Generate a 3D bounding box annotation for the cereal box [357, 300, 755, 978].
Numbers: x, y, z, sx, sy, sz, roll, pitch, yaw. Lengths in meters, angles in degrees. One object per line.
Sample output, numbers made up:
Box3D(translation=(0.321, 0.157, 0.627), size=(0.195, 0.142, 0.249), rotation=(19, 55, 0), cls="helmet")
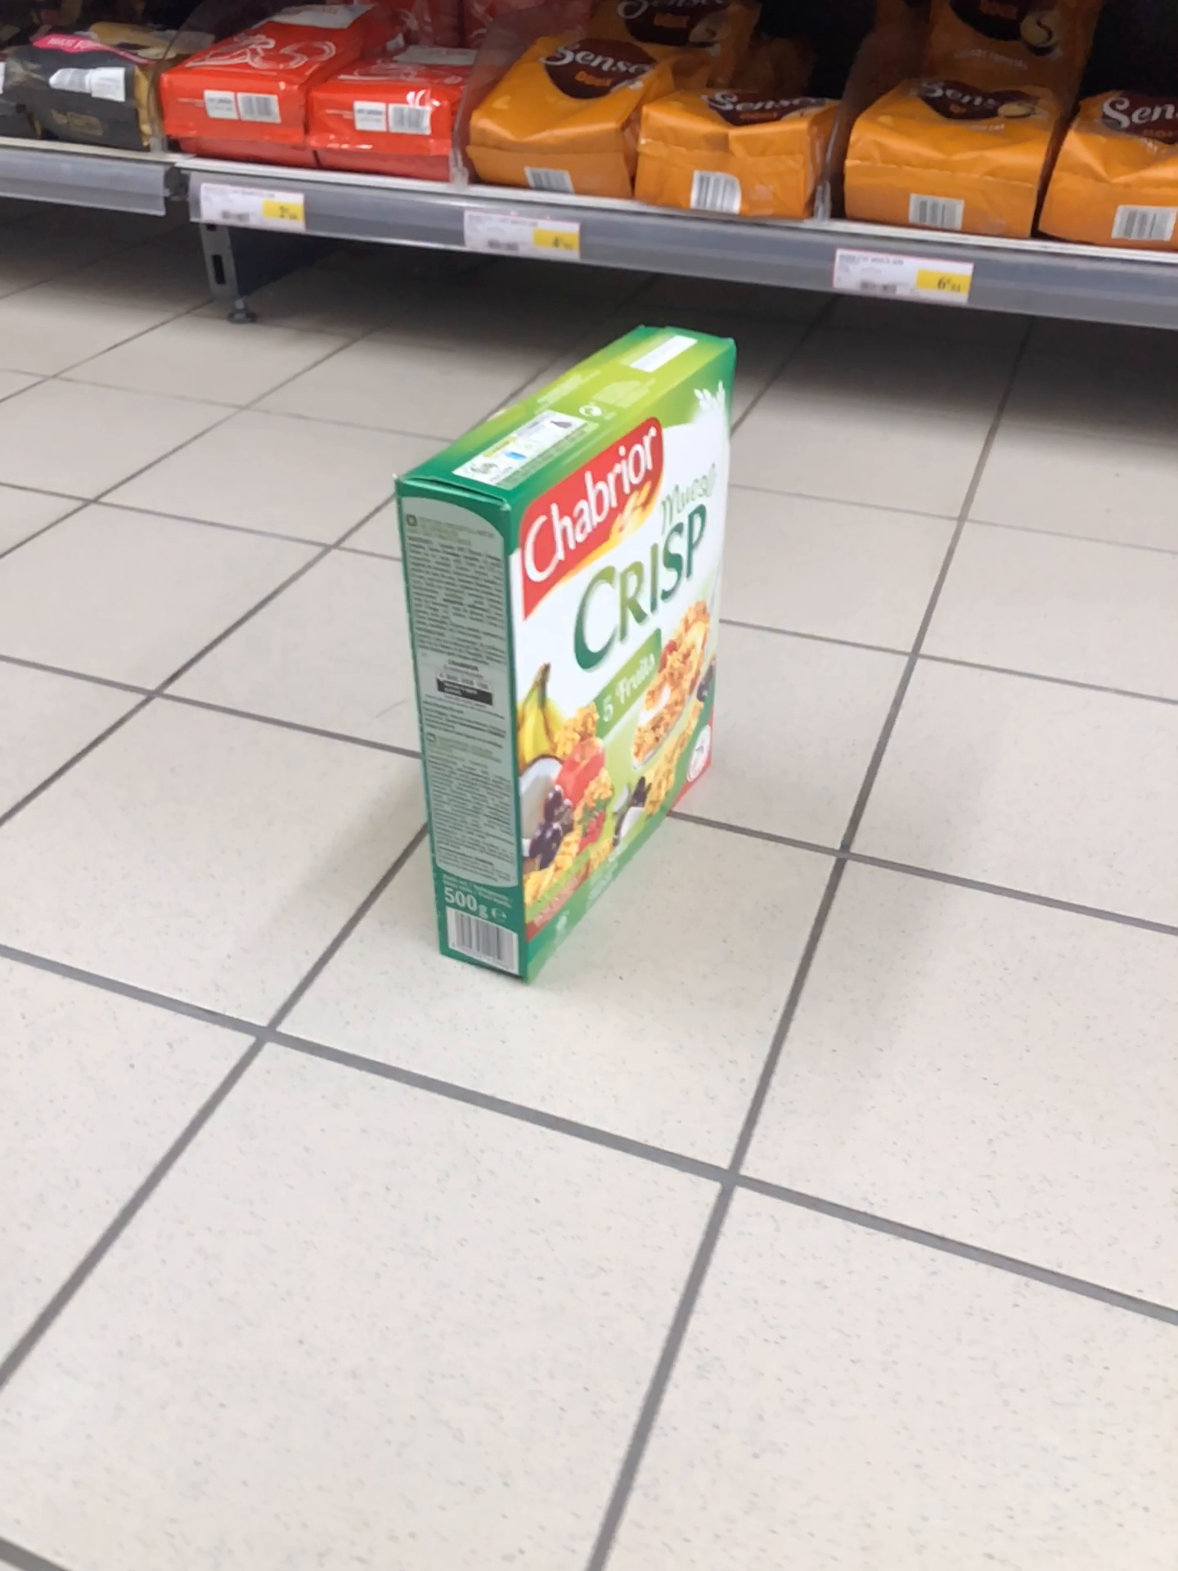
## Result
Box3D(translation=(-0.004, -0.069, 0.561), size=(0.060, 0.219, 0.201), rotation=(18, 39, 23), cls="cereal box")
